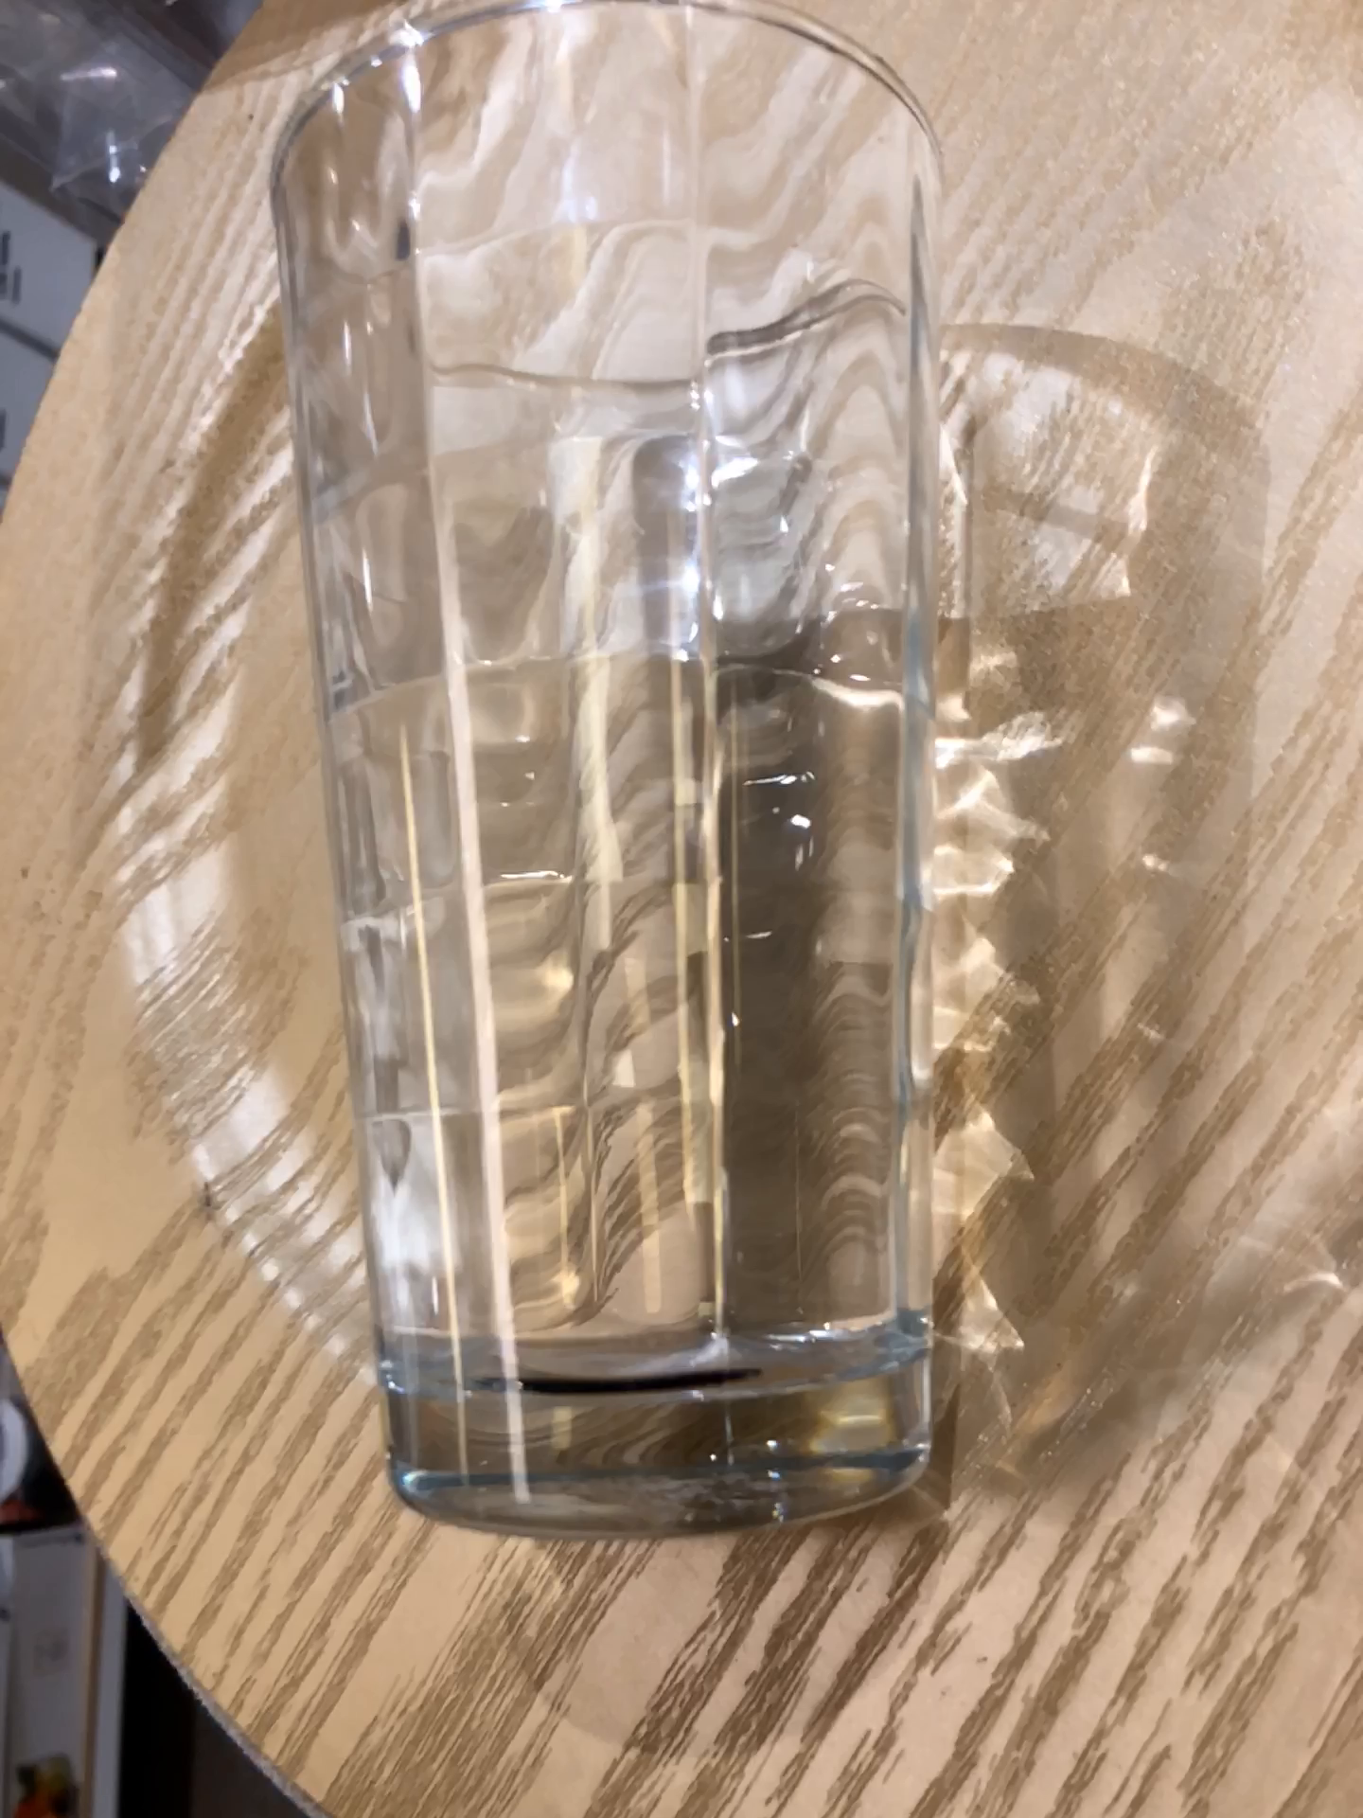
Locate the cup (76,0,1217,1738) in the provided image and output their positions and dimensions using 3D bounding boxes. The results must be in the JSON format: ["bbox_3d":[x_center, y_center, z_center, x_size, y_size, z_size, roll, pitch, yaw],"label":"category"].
[{"bbox_3d":[-0.002,-0.020,0.178,0.090,0.080,0.180,-9,76,32],"label":"cup"}]
